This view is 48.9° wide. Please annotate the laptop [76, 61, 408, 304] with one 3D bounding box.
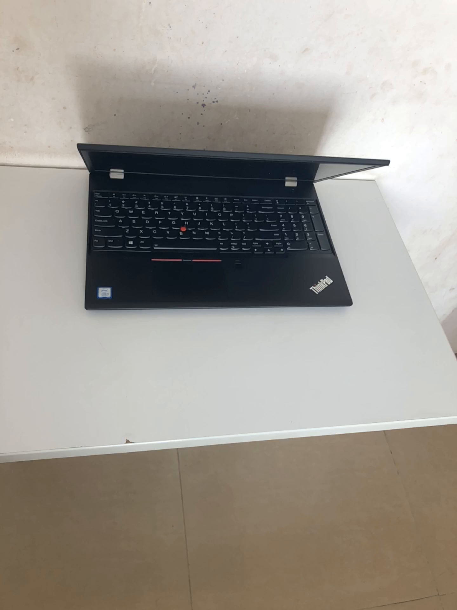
[{"bbox_3d":[-0.006,-0.149,0.647,0.347,0.173,0.235,0,55,-12],"label":"laptop"}]
